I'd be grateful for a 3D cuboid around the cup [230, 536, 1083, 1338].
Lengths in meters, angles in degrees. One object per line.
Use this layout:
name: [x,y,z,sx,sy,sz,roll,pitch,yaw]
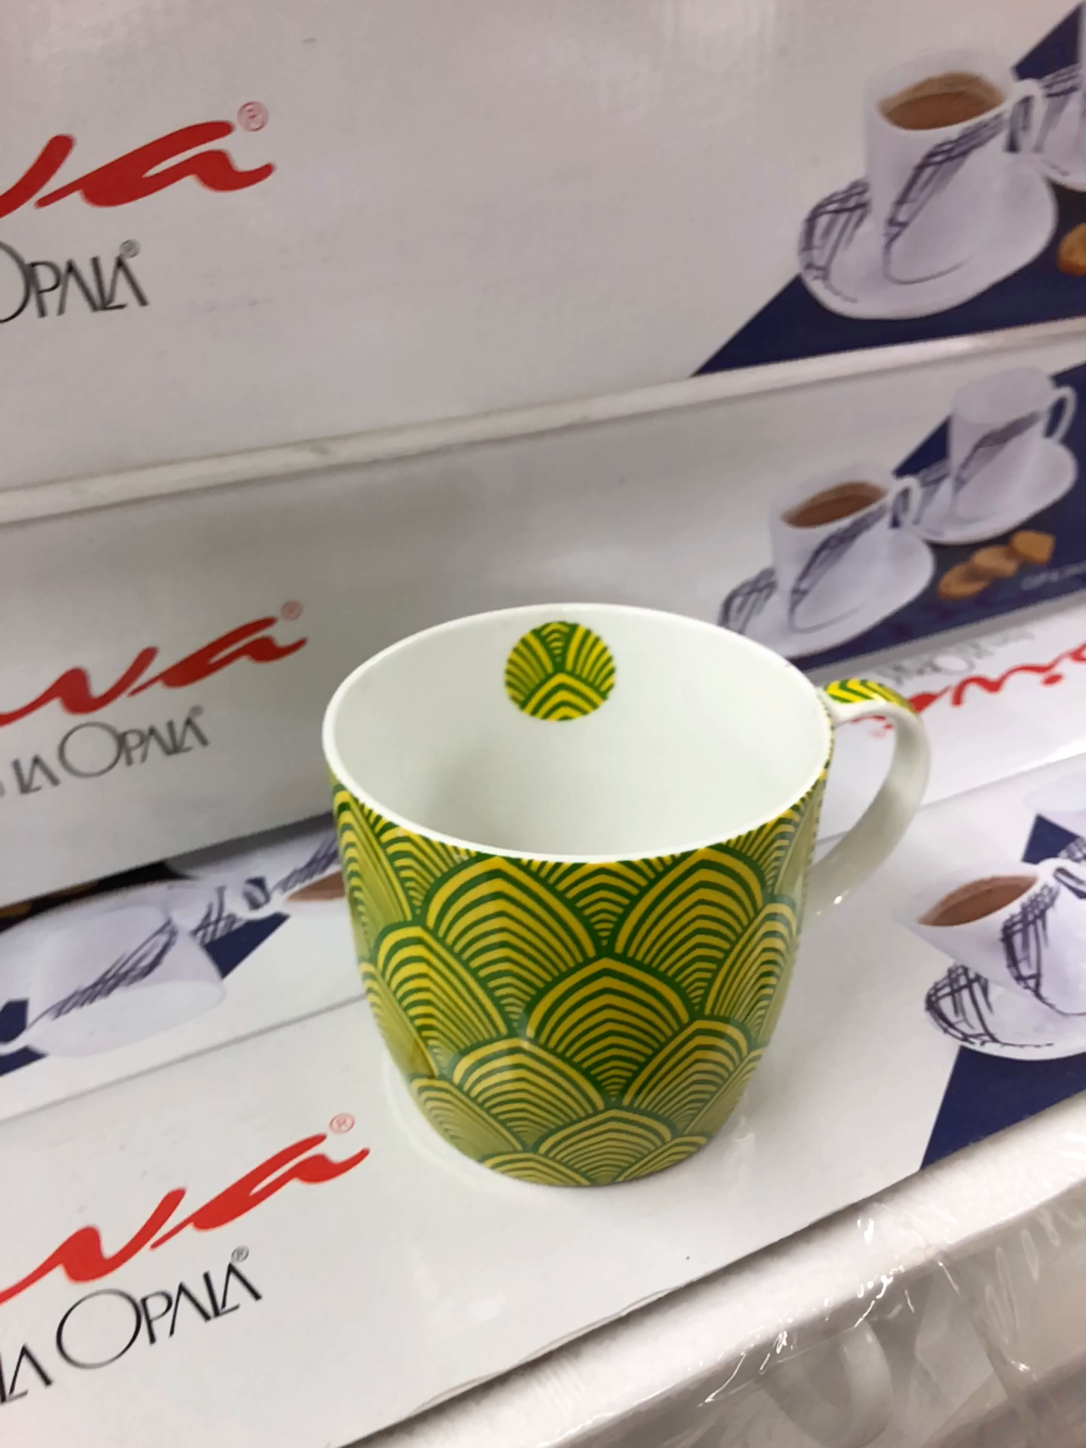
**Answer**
cup: [0.018,0.028,0.235,0.120,0.079,0.090,-18,35,-27]
